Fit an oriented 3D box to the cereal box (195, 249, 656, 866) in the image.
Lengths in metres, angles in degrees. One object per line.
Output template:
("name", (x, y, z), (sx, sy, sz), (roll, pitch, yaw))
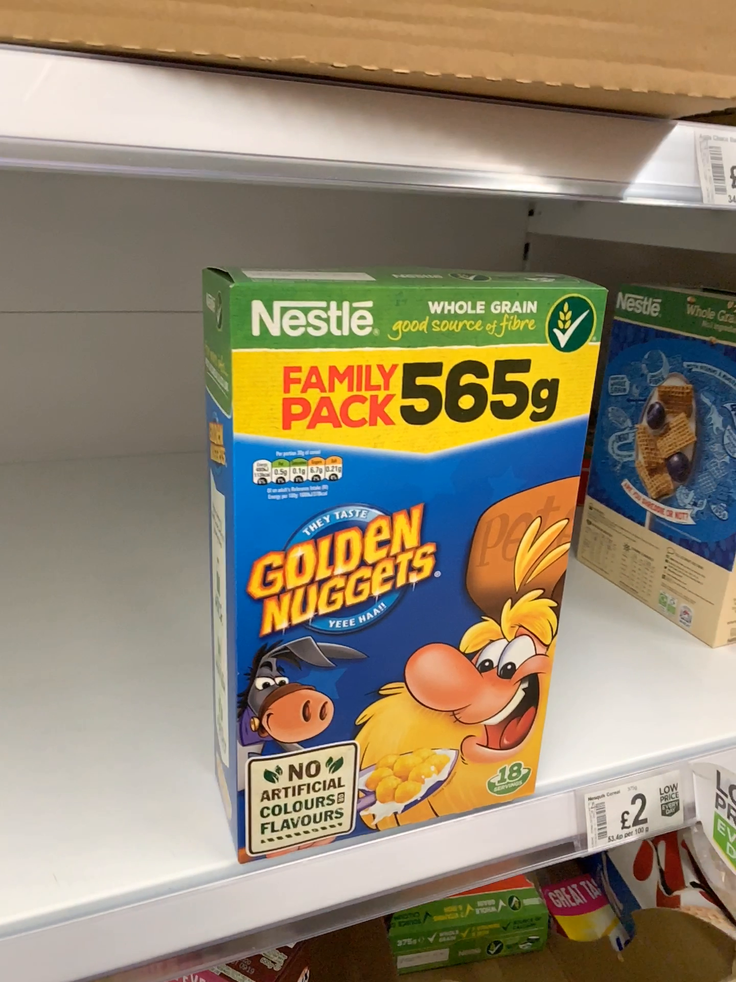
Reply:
("cereal box", (0.019, 0.032, 0.427), (0.210, 0.308, 0.091), (-4, 21, -19))
